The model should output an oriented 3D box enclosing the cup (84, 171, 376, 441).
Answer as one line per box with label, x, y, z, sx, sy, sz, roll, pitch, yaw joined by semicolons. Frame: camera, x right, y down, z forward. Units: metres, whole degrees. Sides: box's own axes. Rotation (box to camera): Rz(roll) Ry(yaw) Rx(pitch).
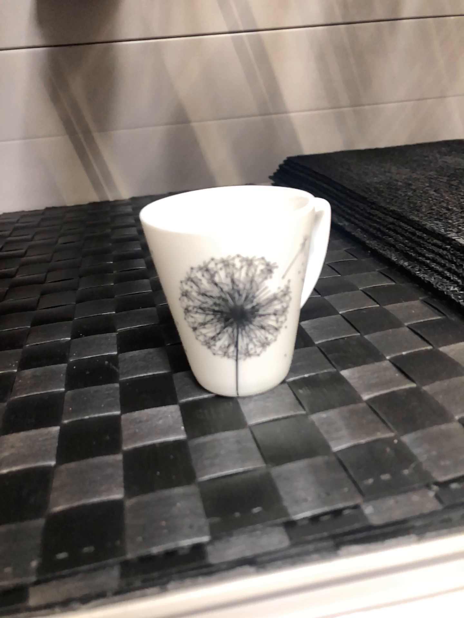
cup;0.001;-0.008;0.187;0.081;0.060;0.056;-22;35;-34
